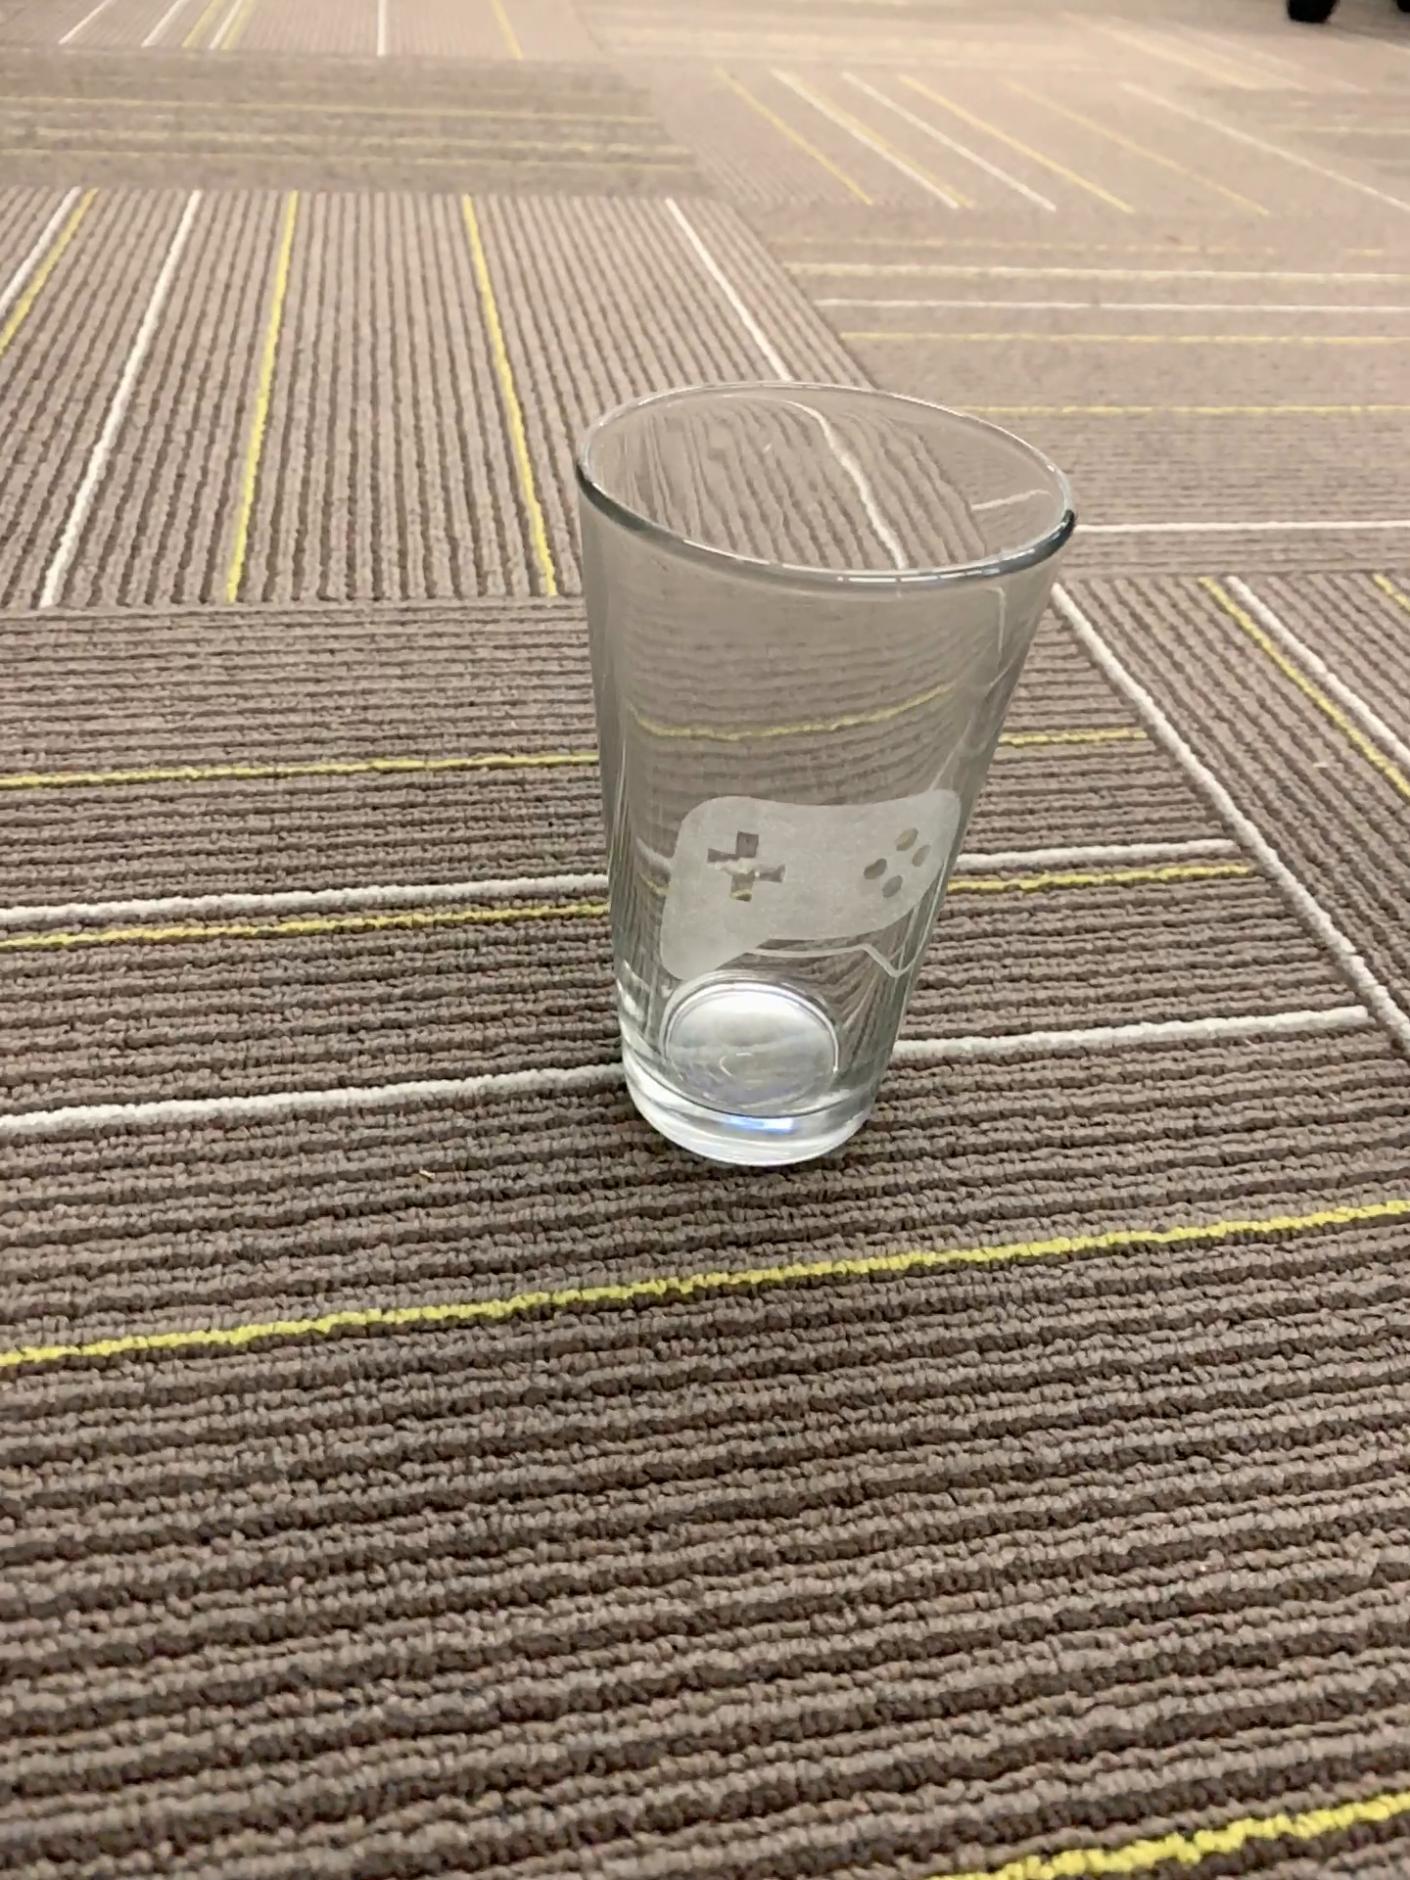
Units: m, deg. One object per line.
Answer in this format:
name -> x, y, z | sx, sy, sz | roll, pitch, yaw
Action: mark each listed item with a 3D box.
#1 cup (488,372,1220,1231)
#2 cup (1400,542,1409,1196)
cup -> 0.016, -0.029, 0.275 | 0.090, 0.119, 0.091 | 2, 38, -2
cup -> 0.226, -0.014, 0.324 | 0.070, 0.119, 0.080 | 0, 38, -5
